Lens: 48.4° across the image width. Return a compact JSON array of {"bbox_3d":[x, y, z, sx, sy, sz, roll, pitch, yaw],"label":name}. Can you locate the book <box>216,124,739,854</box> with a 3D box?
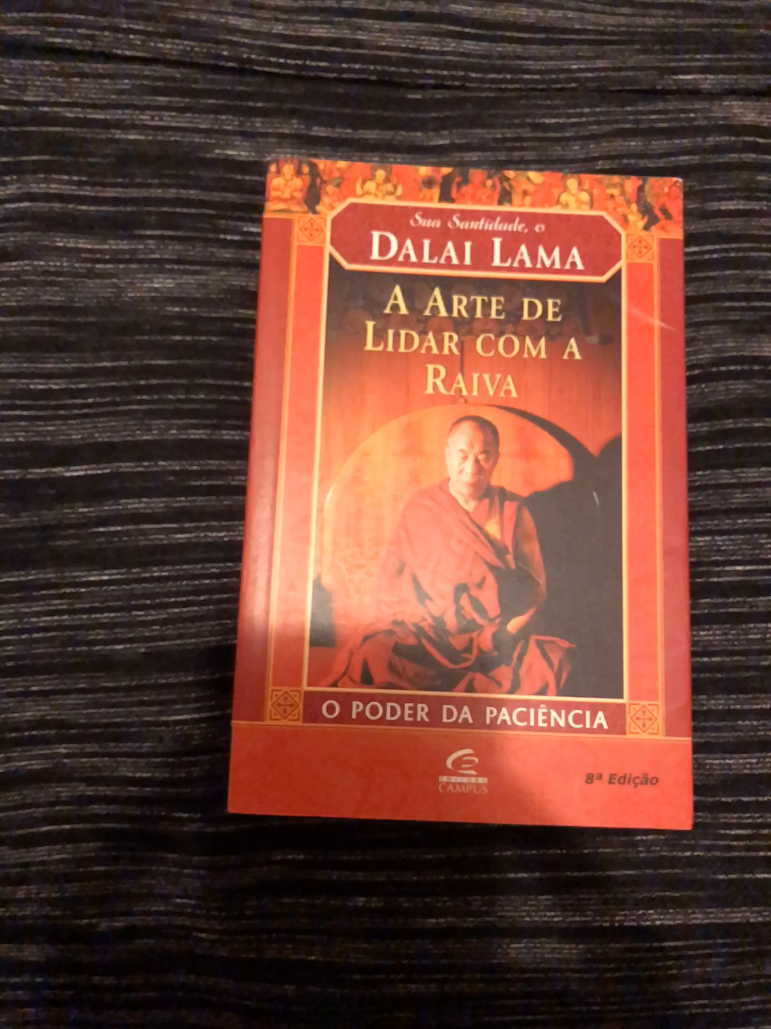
[{"bbox_3d":[0.030,-0.012,0.276,0.150,0.030,0.220,2,81,-2],"label":"book"}]

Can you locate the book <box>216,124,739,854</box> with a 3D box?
[{"bbox_3d":[0.030,-0.012,0.276,0.150,0.030,0.220,2,81,-2],"label":"book"}]

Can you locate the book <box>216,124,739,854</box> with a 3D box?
[{"bbox_3d":[0.030,-0.012,0.276,0.150,0.030,0.220,2,81,-2],"label":"book"}]
